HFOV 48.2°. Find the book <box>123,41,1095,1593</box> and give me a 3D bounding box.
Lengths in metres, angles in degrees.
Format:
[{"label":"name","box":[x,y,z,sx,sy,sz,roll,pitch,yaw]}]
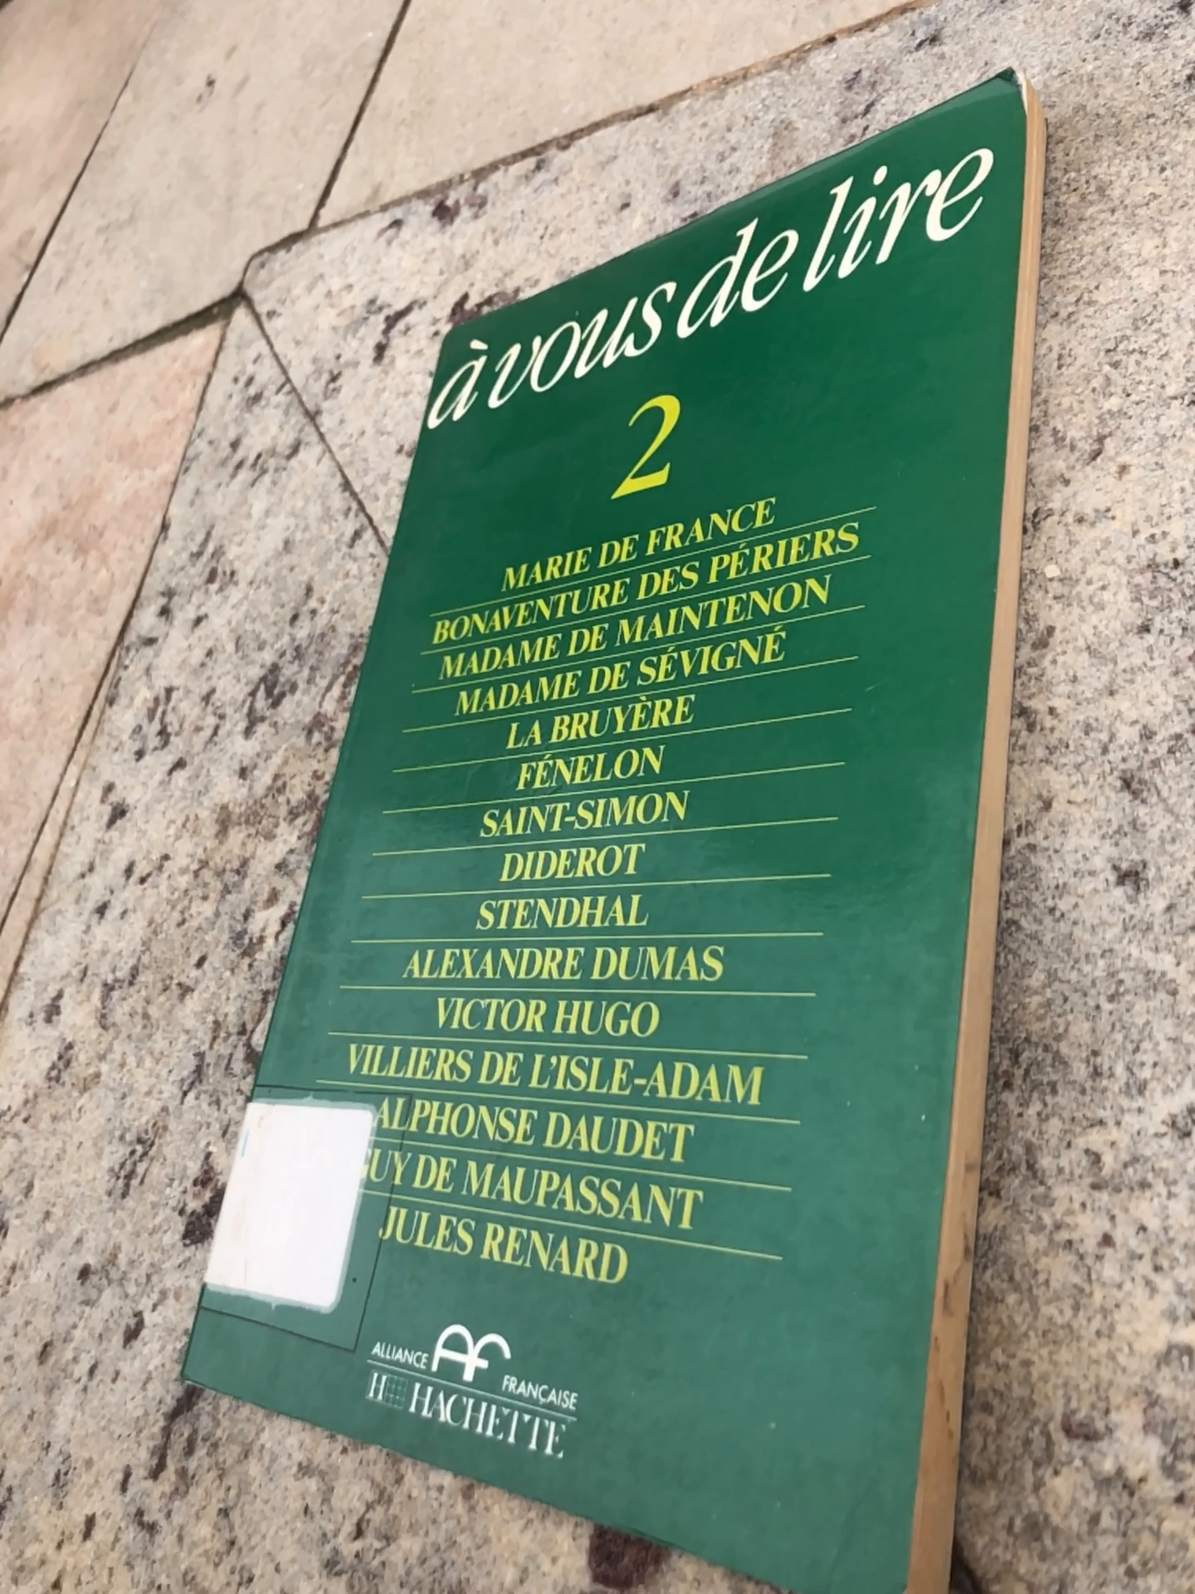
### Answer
[{"label":"book","box":[0.001,-0.007,0.214,0.141,0.017,0.210,-7,62,41]}]
